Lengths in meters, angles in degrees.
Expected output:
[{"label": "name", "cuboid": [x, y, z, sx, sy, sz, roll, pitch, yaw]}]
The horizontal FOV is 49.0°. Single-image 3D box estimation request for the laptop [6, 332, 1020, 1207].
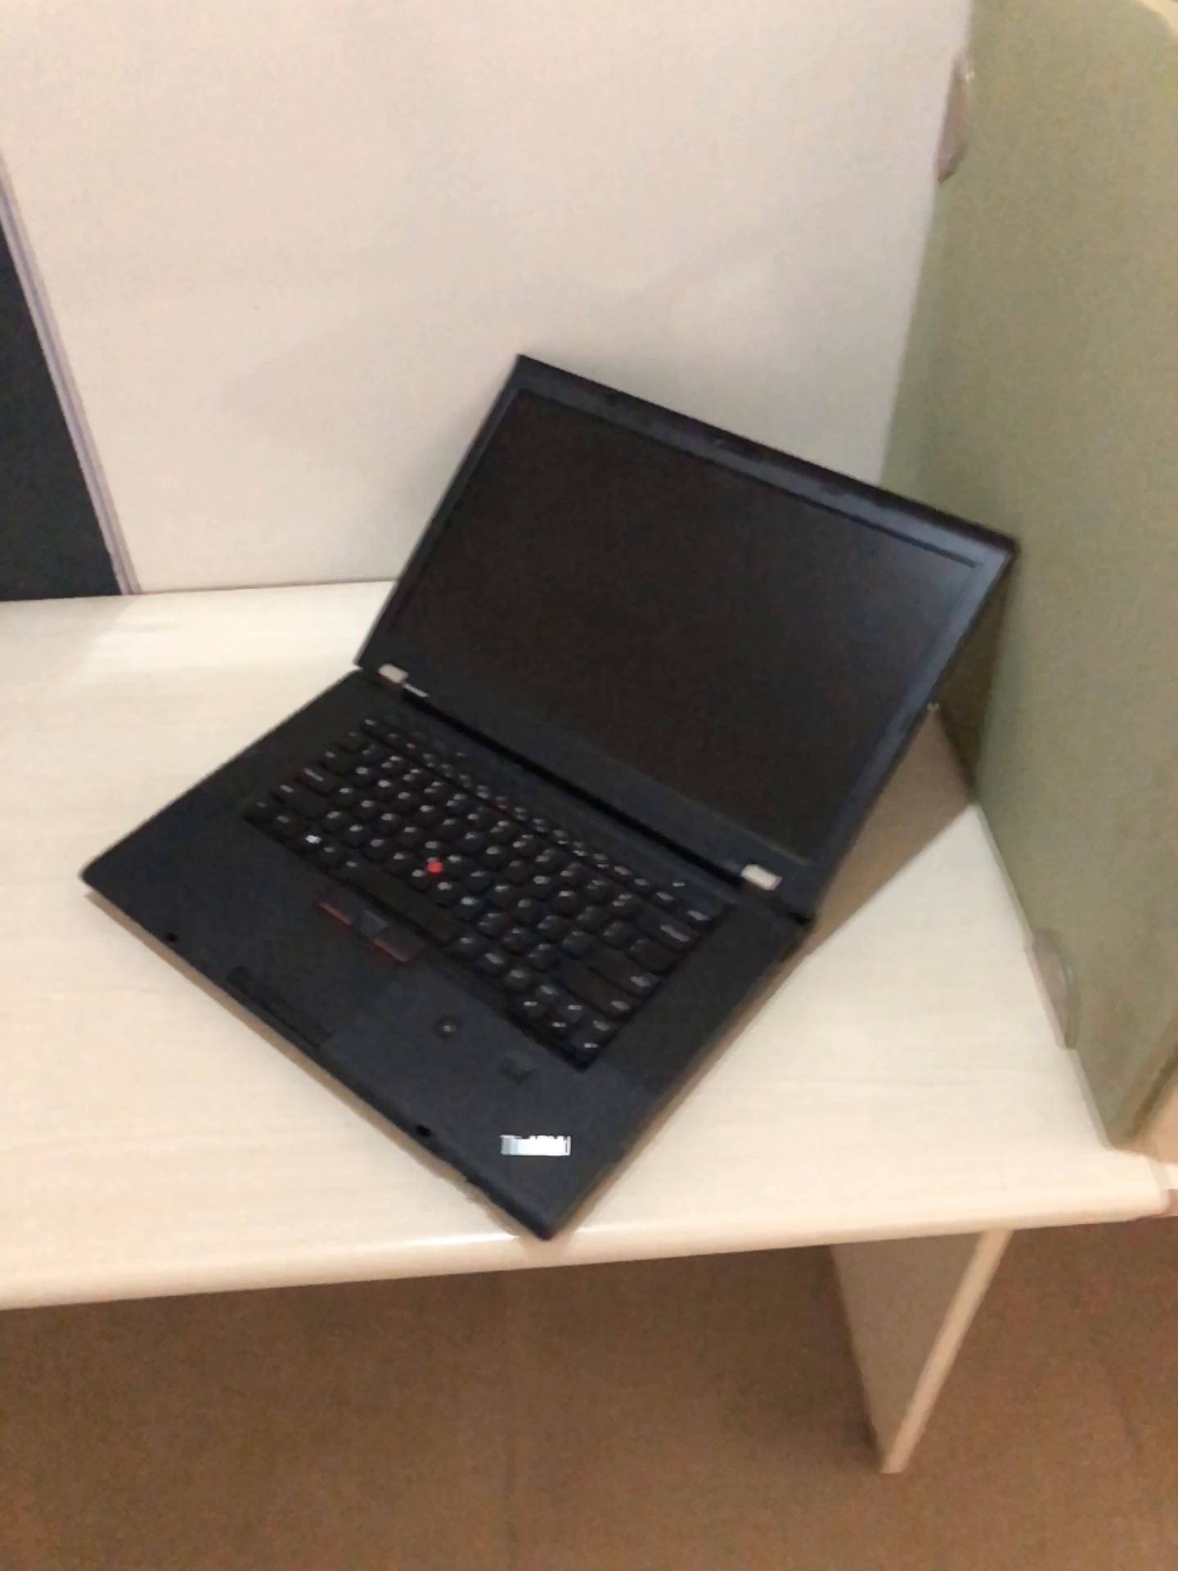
[{"label": "laptop", "cuboid": [-0.034, -0.053, 0.738, 0.354, 0.142, 0.412, 29, 57, 29]}]
